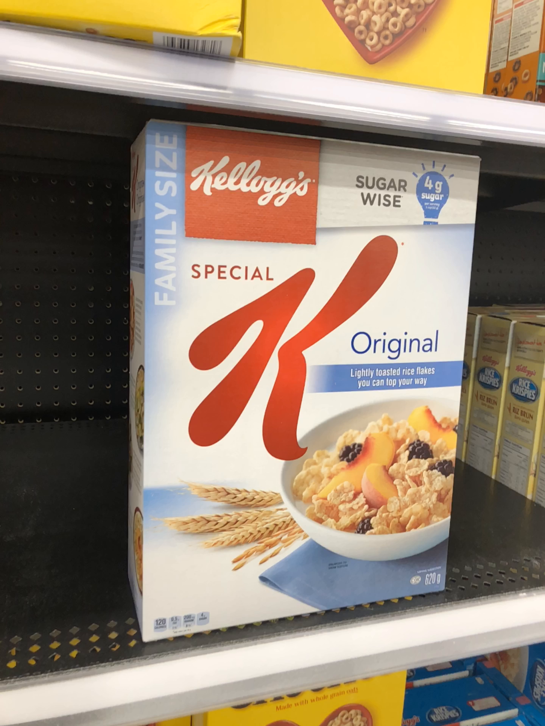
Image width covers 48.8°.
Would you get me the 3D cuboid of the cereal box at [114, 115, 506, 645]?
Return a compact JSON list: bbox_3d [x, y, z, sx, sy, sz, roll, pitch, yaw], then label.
[{"bbox_3d":[0.021,0.013,0.445,0.260,0.329,0.080,-1,11,-20],"label":"cereal box"}]
